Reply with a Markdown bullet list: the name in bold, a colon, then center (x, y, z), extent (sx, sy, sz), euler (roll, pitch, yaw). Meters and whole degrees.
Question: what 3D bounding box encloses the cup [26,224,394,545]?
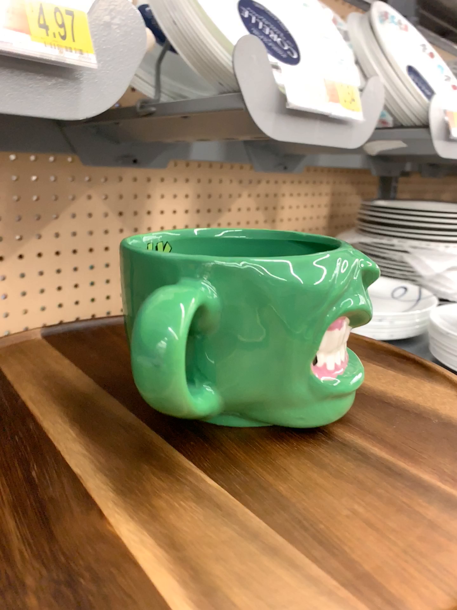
- **cup**: center (0.006, 0.016, 0.236), extent (0.130, 0.090, 0.140), euler (2, 15, 0)
